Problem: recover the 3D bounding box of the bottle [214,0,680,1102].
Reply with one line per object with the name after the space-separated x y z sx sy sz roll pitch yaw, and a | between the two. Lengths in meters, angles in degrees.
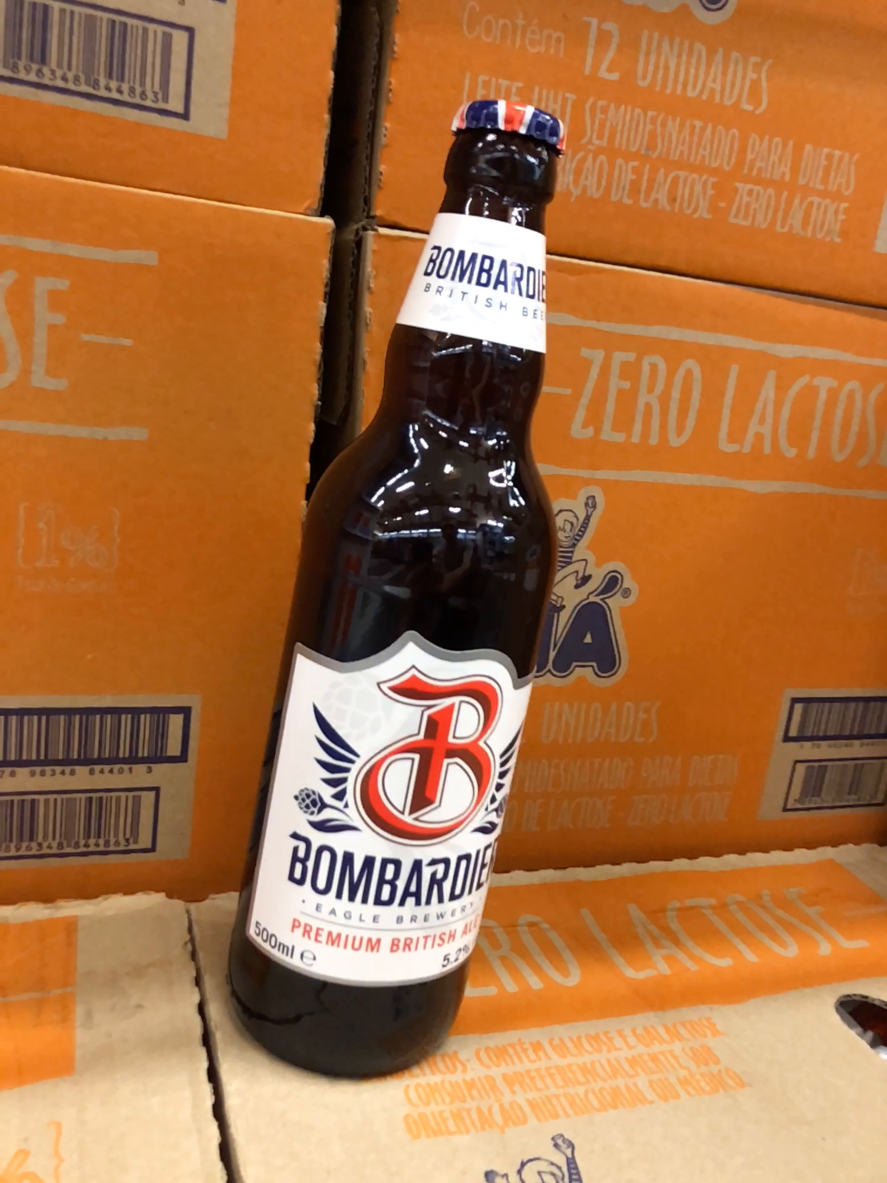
-0.009 -0.004 0.260 0.070 0.259 0.060 5 12 -20 | bottle
